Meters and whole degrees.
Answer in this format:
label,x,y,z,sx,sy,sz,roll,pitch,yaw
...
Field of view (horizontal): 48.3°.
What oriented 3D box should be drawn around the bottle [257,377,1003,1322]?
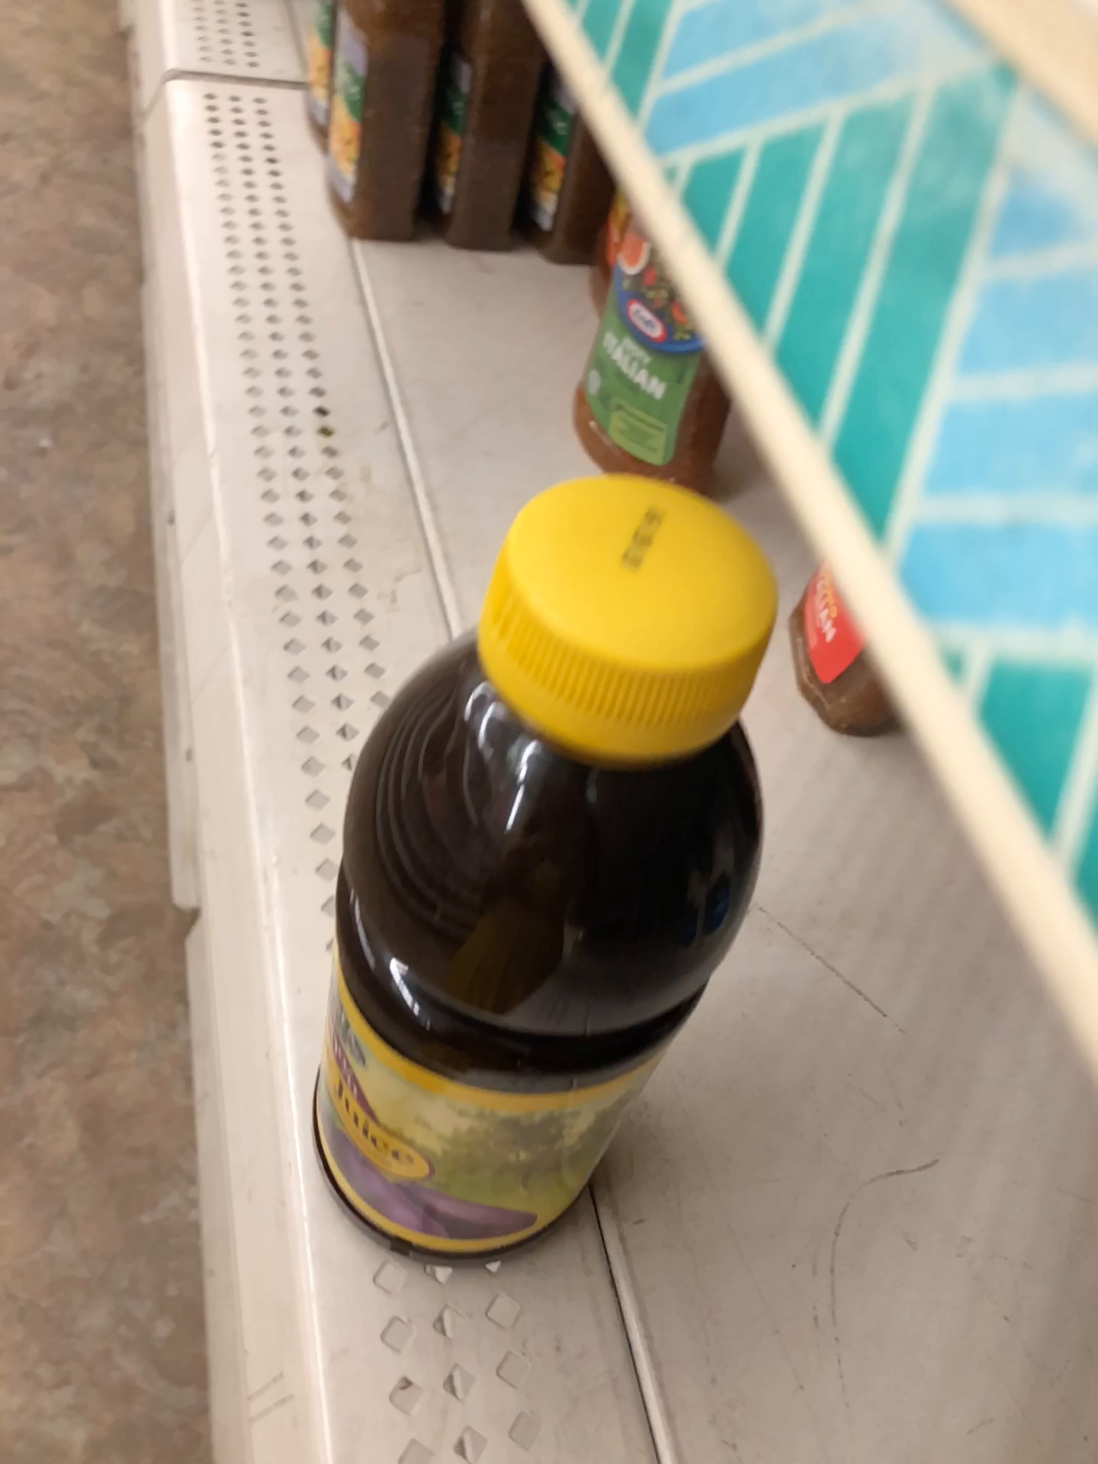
label,x,y,z,sx,sy,sz,roll,pitch,yaw
bottle,-0.009,0.035,0.229,0.080,0.181,0.080,7,50,-8
